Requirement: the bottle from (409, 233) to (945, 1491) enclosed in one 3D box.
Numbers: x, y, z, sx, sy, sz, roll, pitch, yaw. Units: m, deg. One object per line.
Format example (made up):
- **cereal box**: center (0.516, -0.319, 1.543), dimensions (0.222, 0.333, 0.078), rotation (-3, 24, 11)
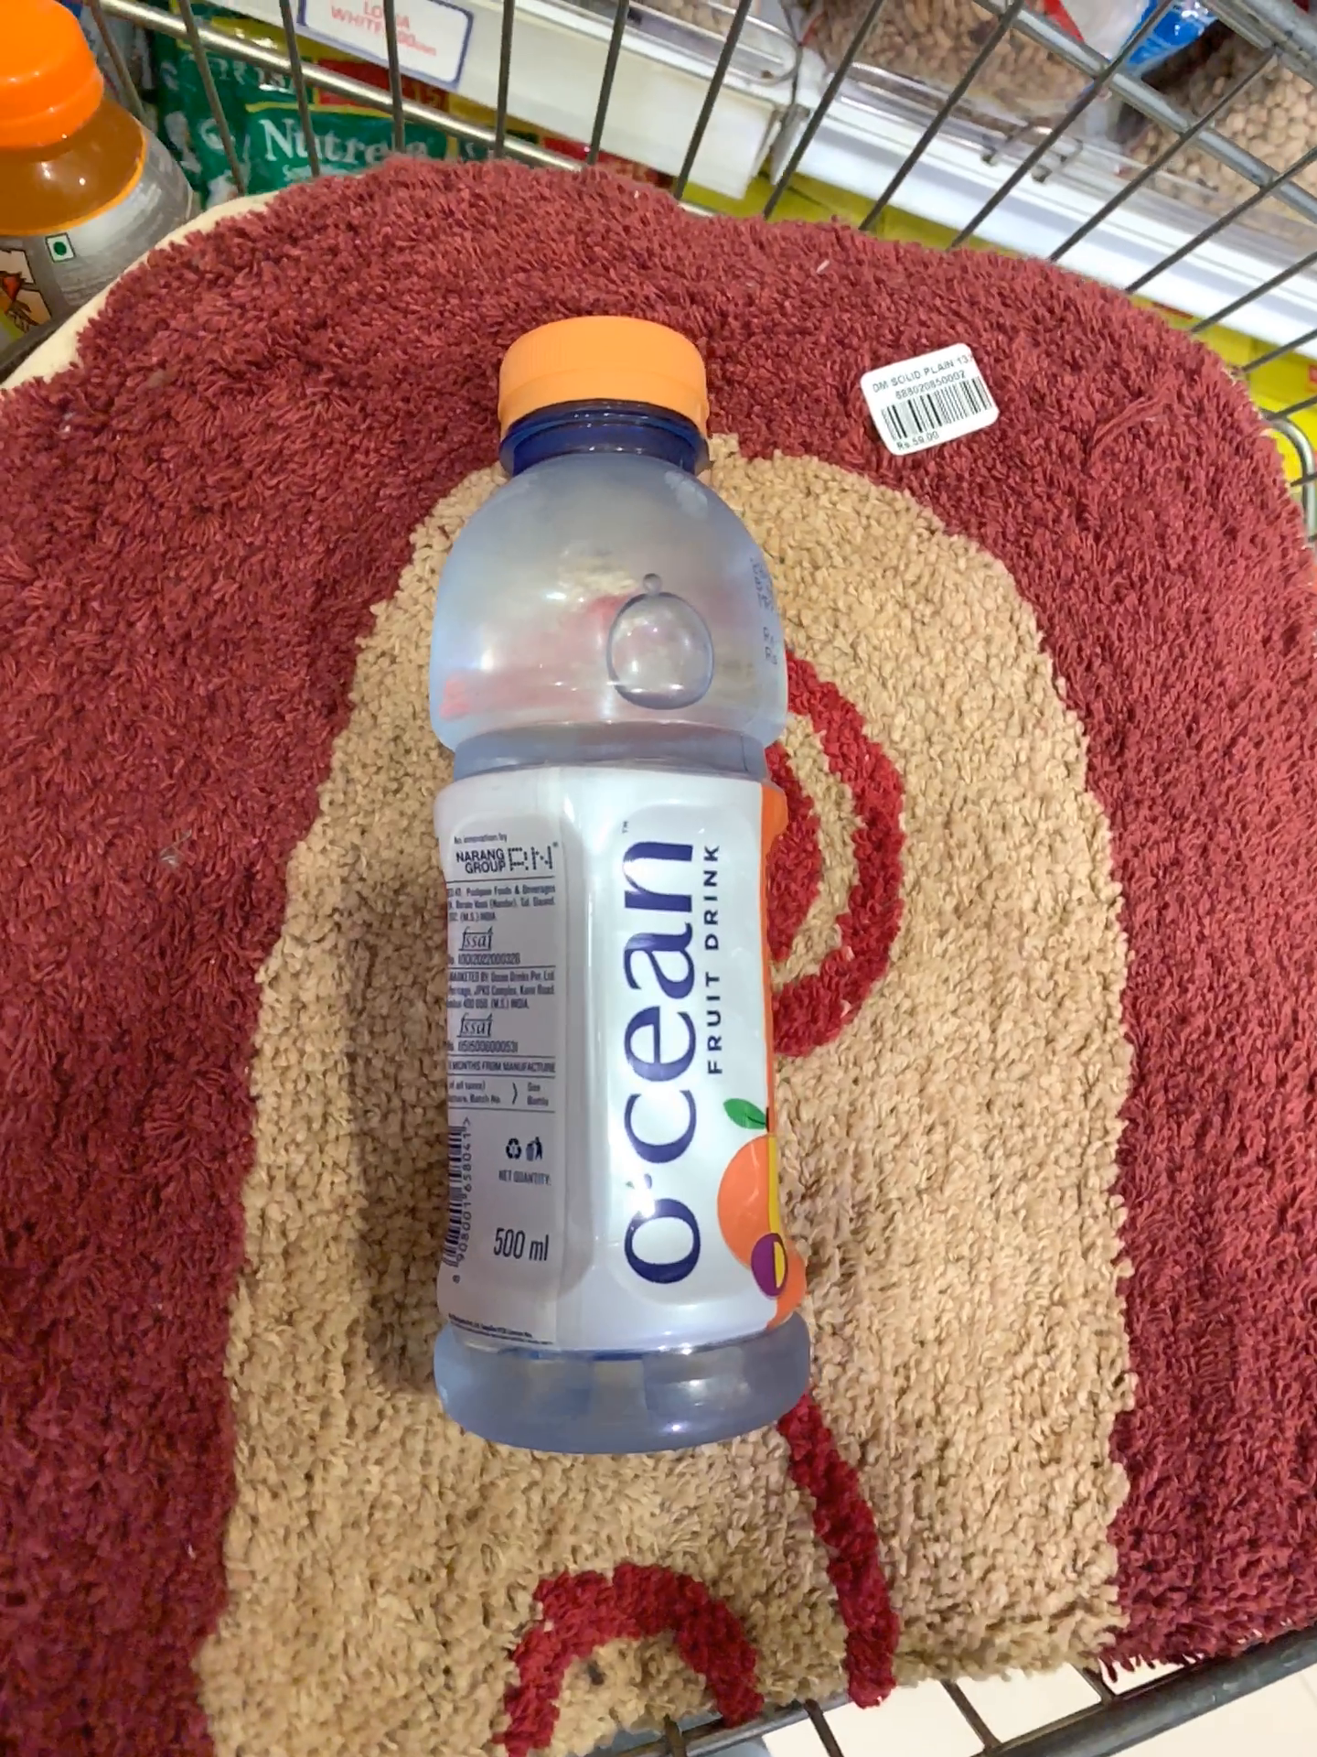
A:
- **bottle**: center (0.001, -0.002, 0.235), dimensions (0.070, 0.060, 0.180), rotation (2, 89, -23)
